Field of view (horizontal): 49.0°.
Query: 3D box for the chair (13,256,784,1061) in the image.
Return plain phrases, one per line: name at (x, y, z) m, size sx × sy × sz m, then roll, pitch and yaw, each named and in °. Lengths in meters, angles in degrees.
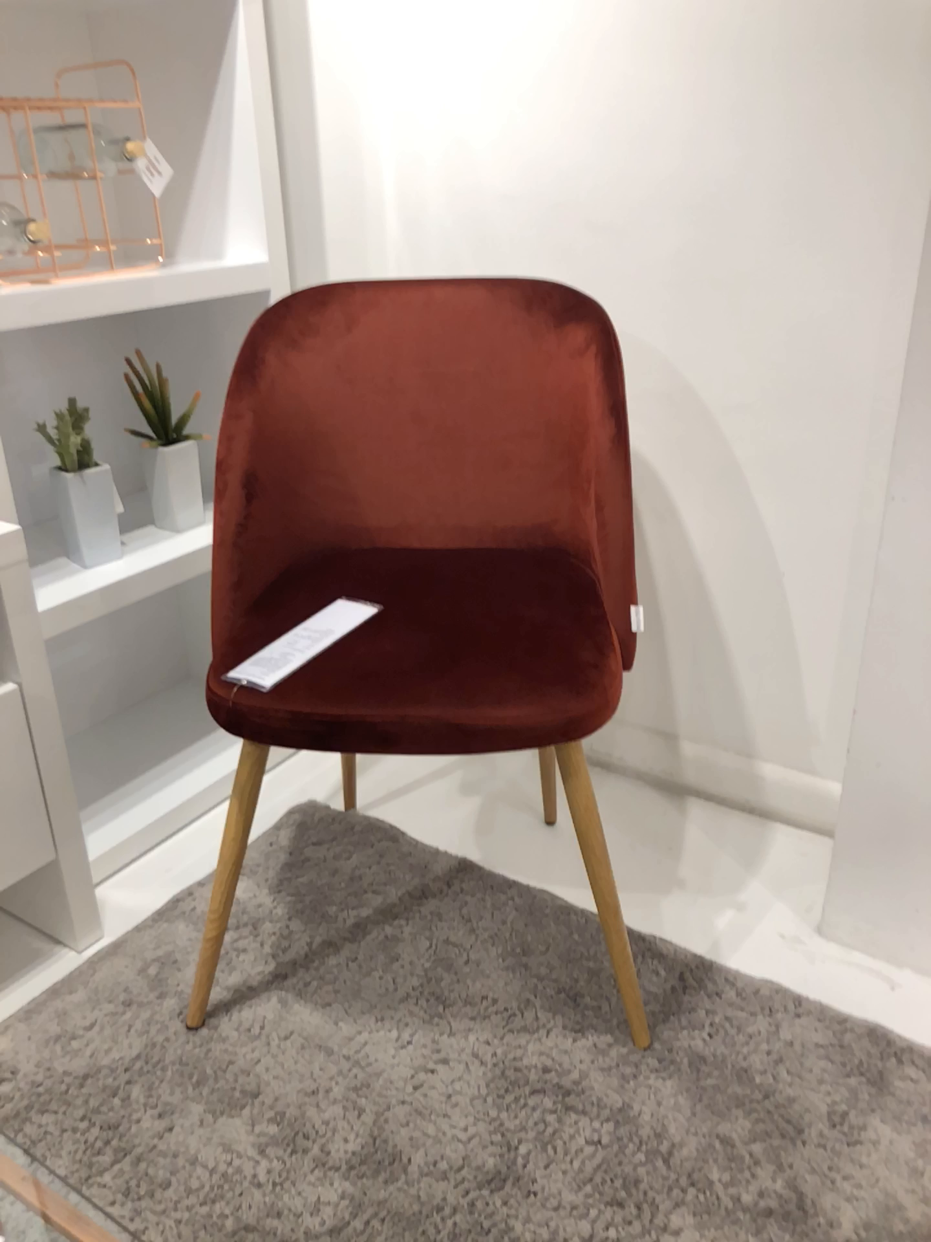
chair at (-0.048, -0.017, 1.226) m, size 0.590 × 0.735 × 0.654 m, roll -1°, pitch 23°, yaw 0°
